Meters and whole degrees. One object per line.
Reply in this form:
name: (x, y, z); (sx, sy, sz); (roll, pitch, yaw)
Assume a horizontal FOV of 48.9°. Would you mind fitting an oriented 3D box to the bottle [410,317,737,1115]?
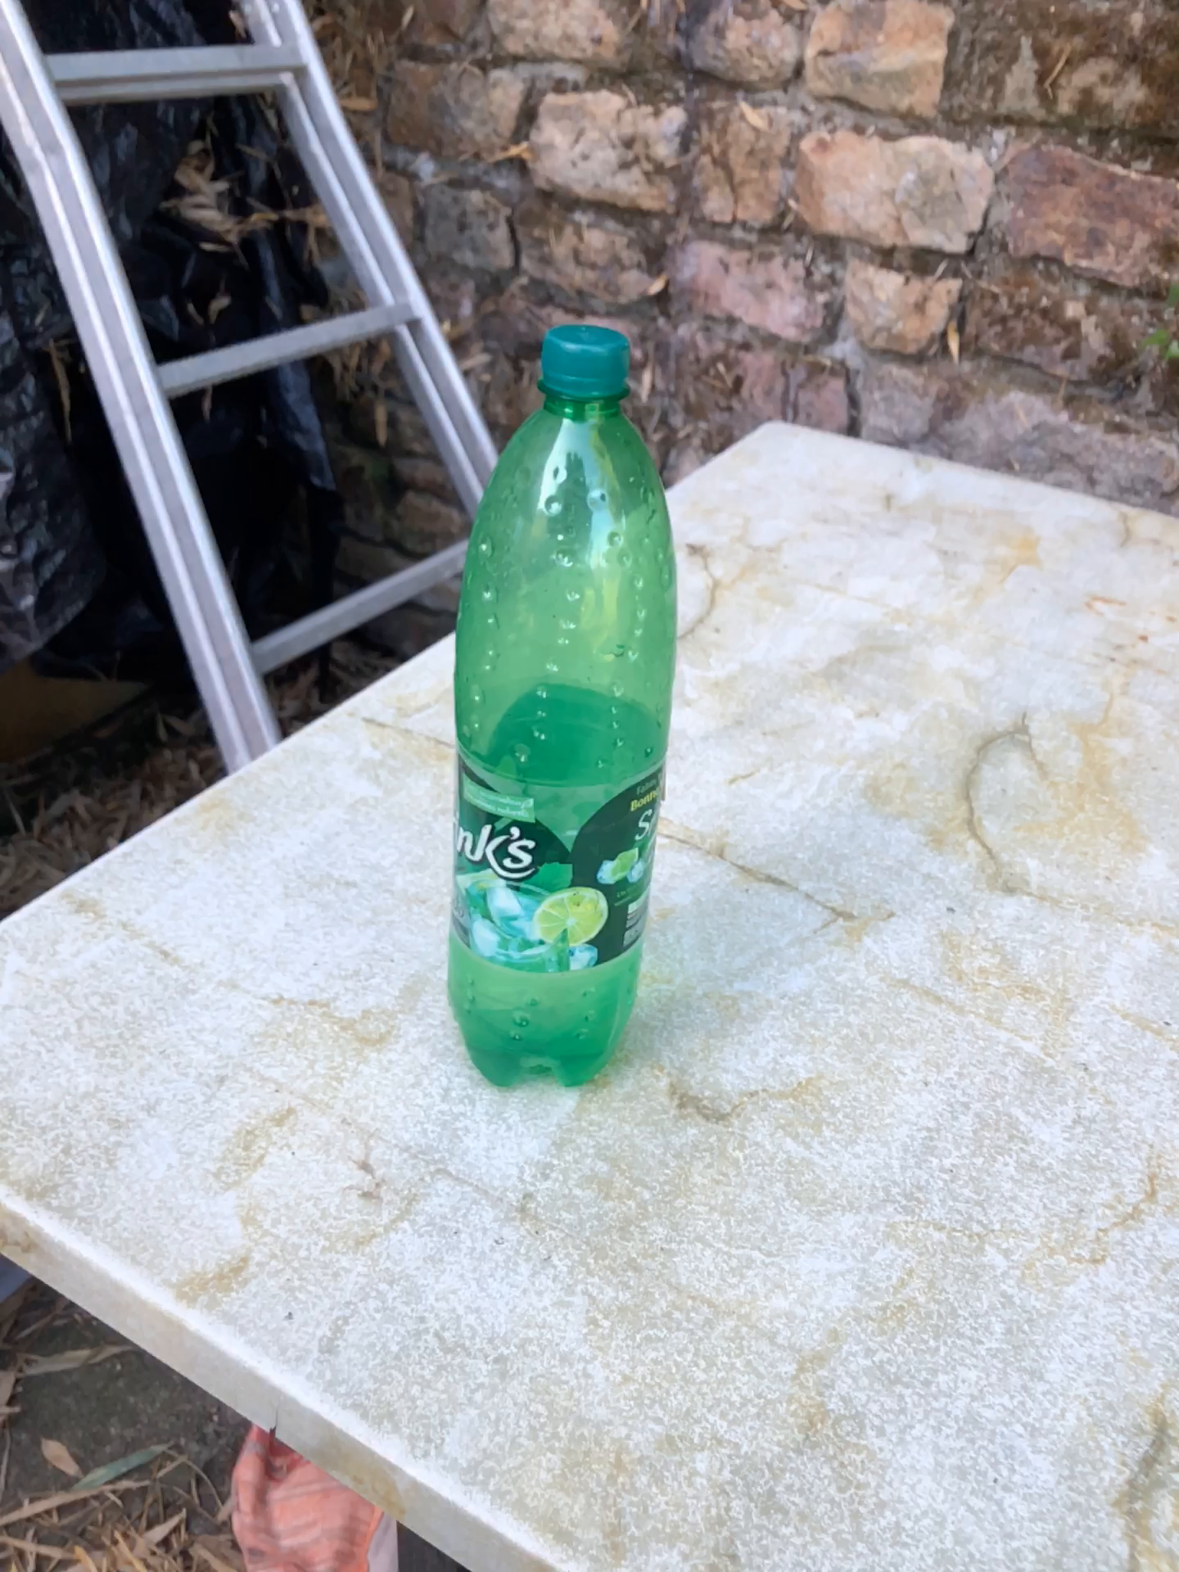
bottle: (-0.017, -0.015, 0.515); (0.090, 0.308, 0.090); (2, 35, -2)
